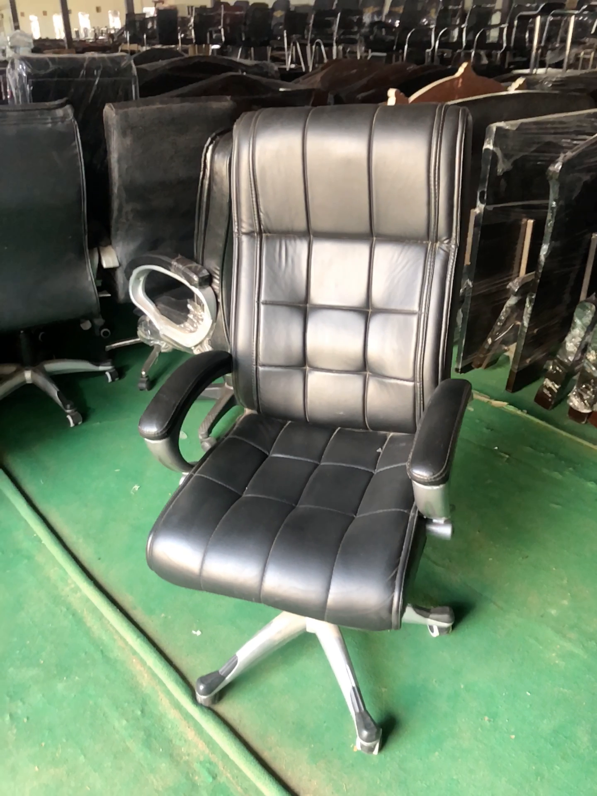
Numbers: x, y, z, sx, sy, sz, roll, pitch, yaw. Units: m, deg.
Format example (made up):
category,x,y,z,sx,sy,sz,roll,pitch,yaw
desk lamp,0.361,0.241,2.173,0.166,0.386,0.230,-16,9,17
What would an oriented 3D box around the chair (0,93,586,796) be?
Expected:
category,x,y,z,sx,sy,sz,roll,pitch,yaw
chair,0.057,0.022,1.480,0.809,1.224,0.835,8,30,15
